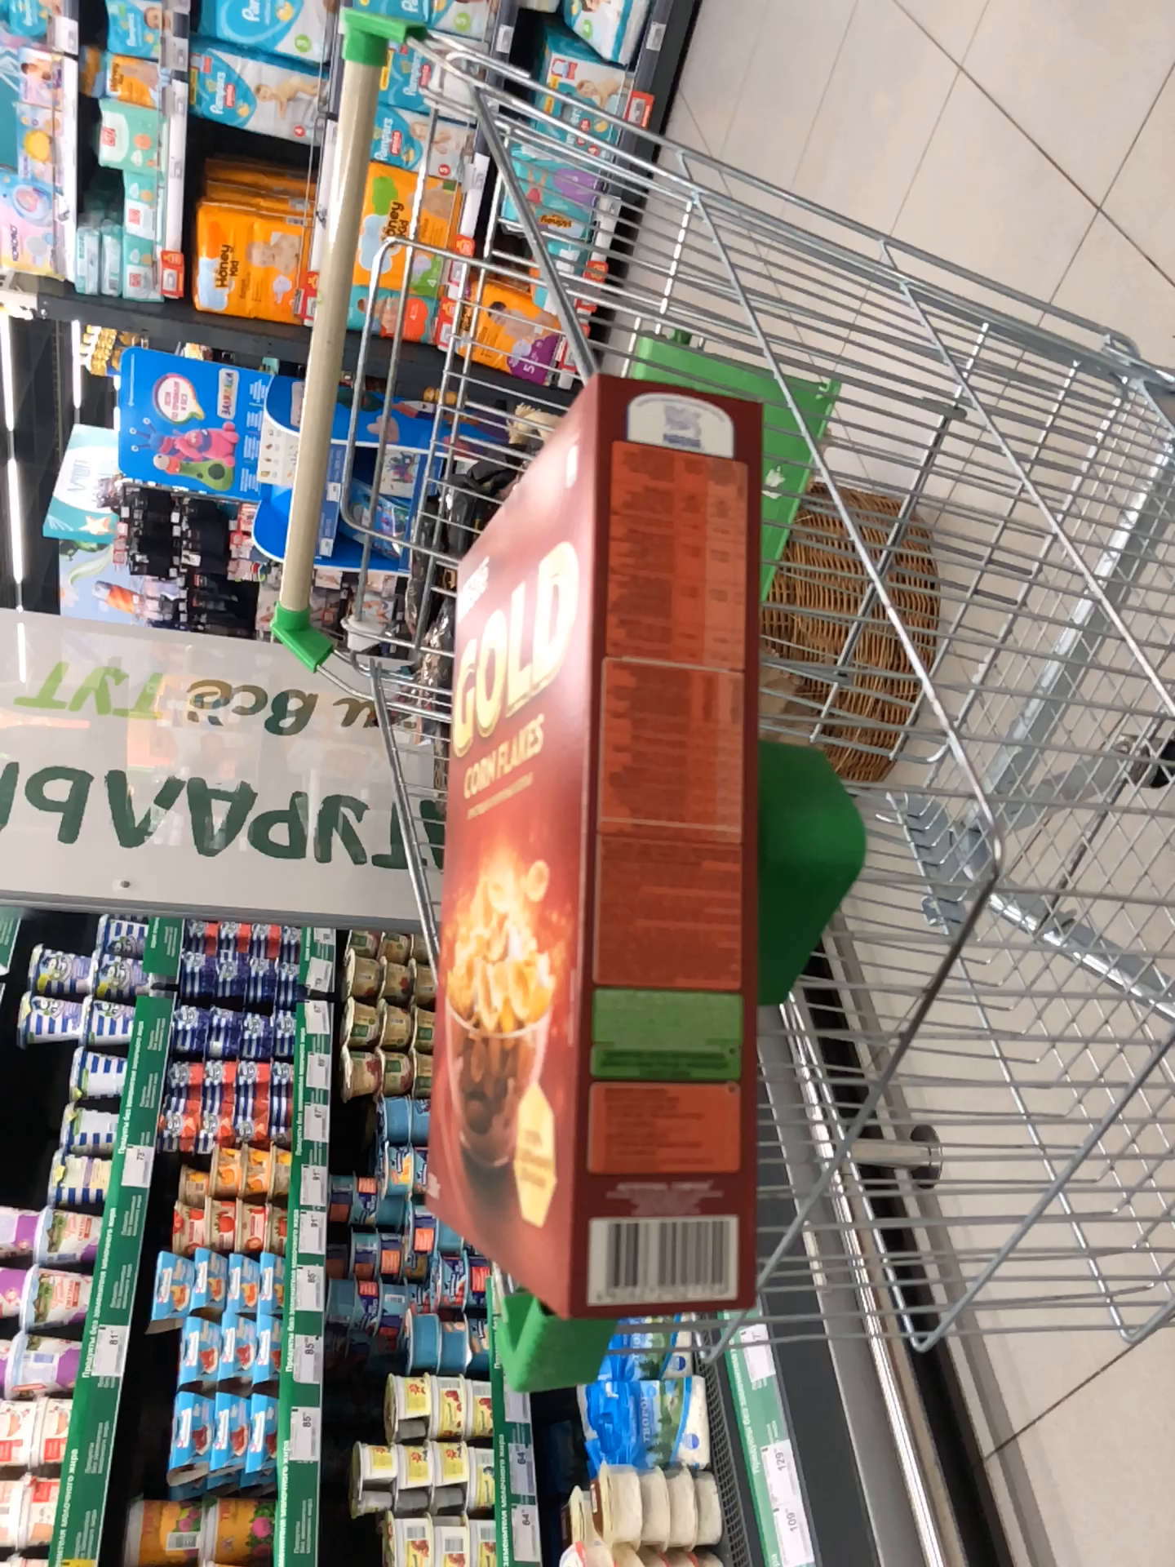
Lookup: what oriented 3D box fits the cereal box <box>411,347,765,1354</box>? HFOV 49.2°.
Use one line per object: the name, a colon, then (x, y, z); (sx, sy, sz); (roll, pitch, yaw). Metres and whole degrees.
cereal box: (-0.009, 0.027, 0.463); (0.211, 0.060, 0.280); (154, 120, -71)
